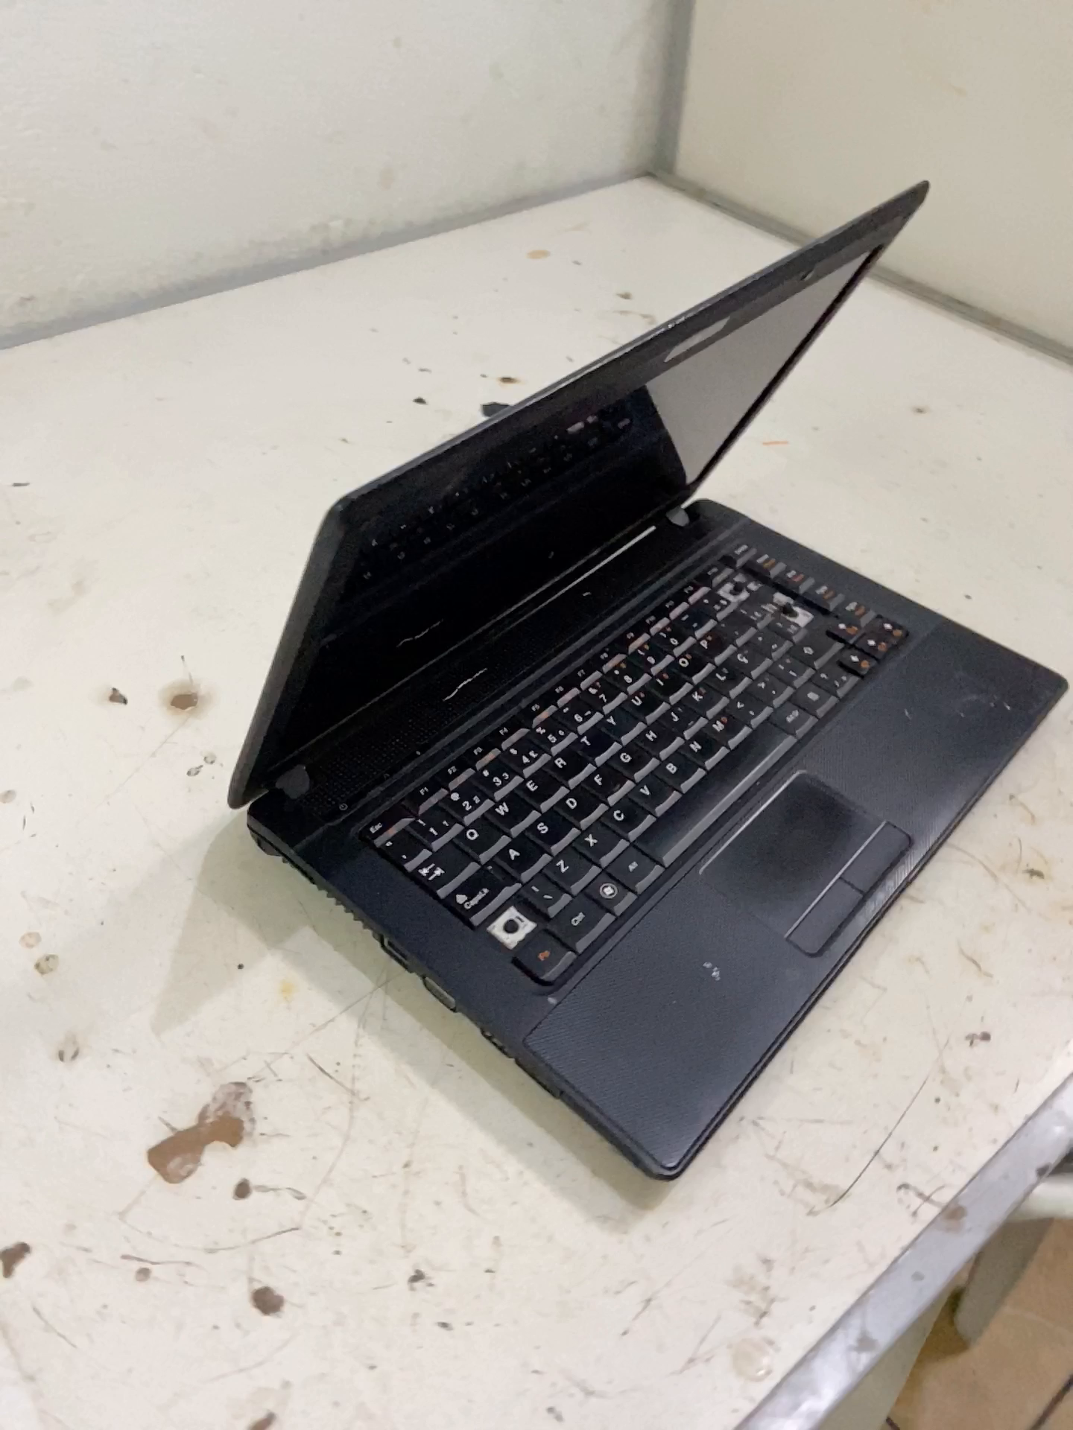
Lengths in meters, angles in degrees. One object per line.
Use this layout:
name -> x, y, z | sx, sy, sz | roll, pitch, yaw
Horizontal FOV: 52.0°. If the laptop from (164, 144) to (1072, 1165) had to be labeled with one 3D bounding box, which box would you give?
laptop -> 0.075, -0.061, 0.443 | 0.223, 0.194, 0.334 | 33, 51, 27
